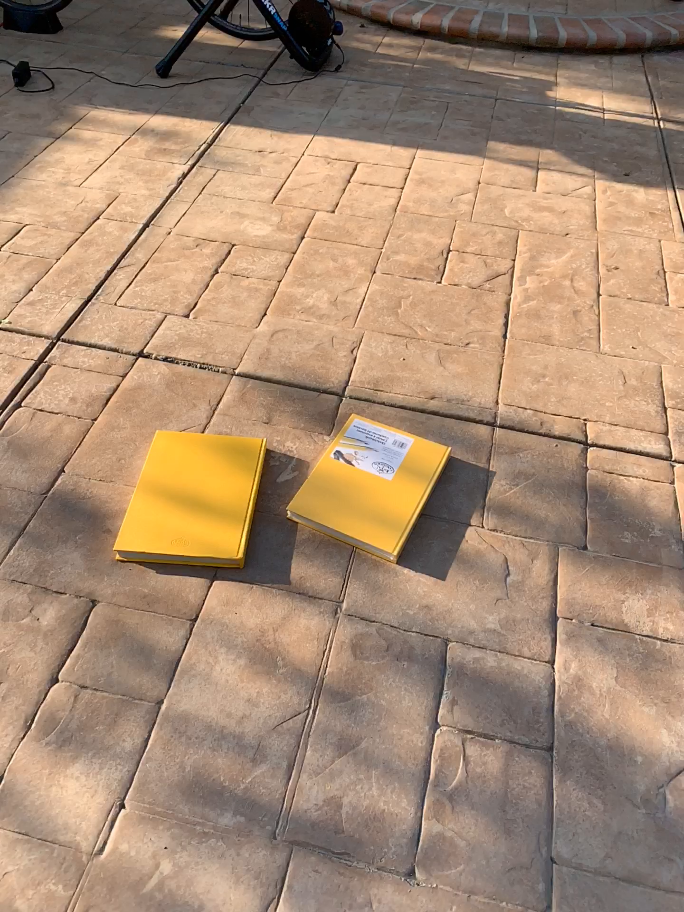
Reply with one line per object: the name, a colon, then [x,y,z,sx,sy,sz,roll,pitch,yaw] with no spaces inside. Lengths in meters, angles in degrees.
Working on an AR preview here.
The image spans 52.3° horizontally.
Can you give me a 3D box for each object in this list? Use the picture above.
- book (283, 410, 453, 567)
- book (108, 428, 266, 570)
book: [0.054,0.049,1.288,0.220,0.030,0.274,20,52,16]
book: [-0.267,0.068,1.254,0.220,0.030,0.290,4,46,1]
